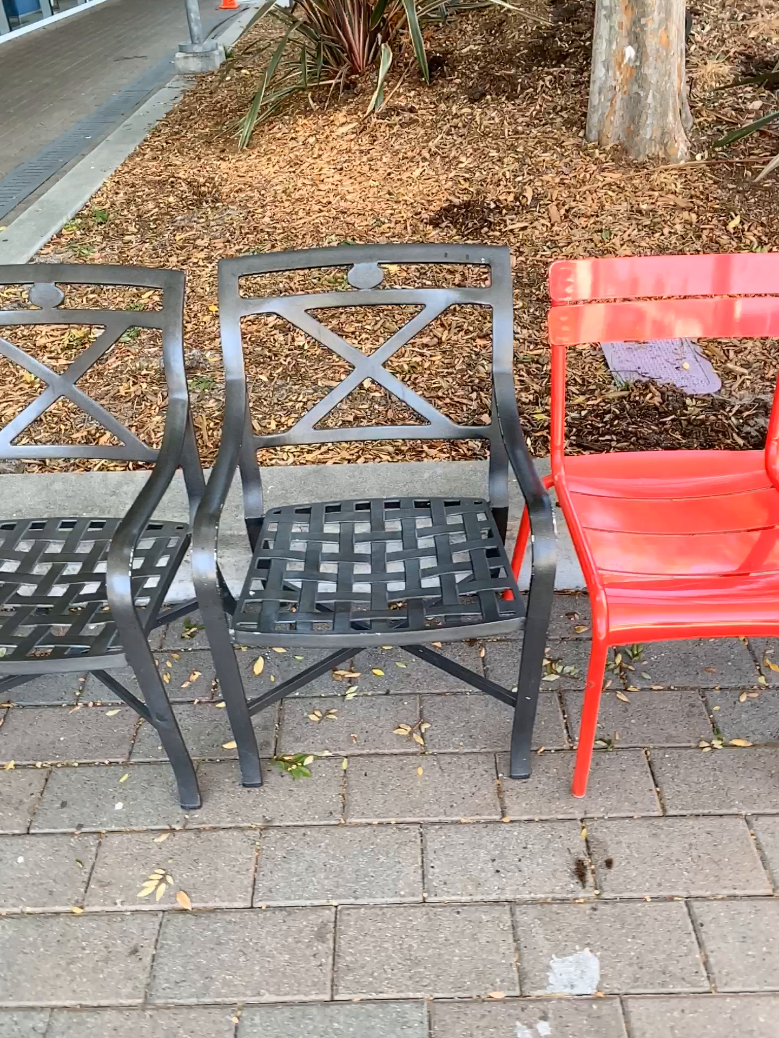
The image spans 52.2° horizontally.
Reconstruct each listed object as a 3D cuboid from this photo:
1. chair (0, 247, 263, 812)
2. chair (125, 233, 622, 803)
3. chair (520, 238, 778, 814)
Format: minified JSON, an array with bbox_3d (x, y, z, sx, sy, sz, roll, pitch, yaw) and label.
[{"bbox_3d":[-0.650,0.016,1.528,0.620,0.815,0.694,-1,38,1],"label":"chair"},{"bbox_3d":[-0.009,-0.005,1.516,0.620,0.815,0.694,-1,38,1],"label":"chair"},{"bbox_3d":[0.619,0.016,1.455,0.620,0.815,0.644,-1,38,1],"label":"chair"}]
